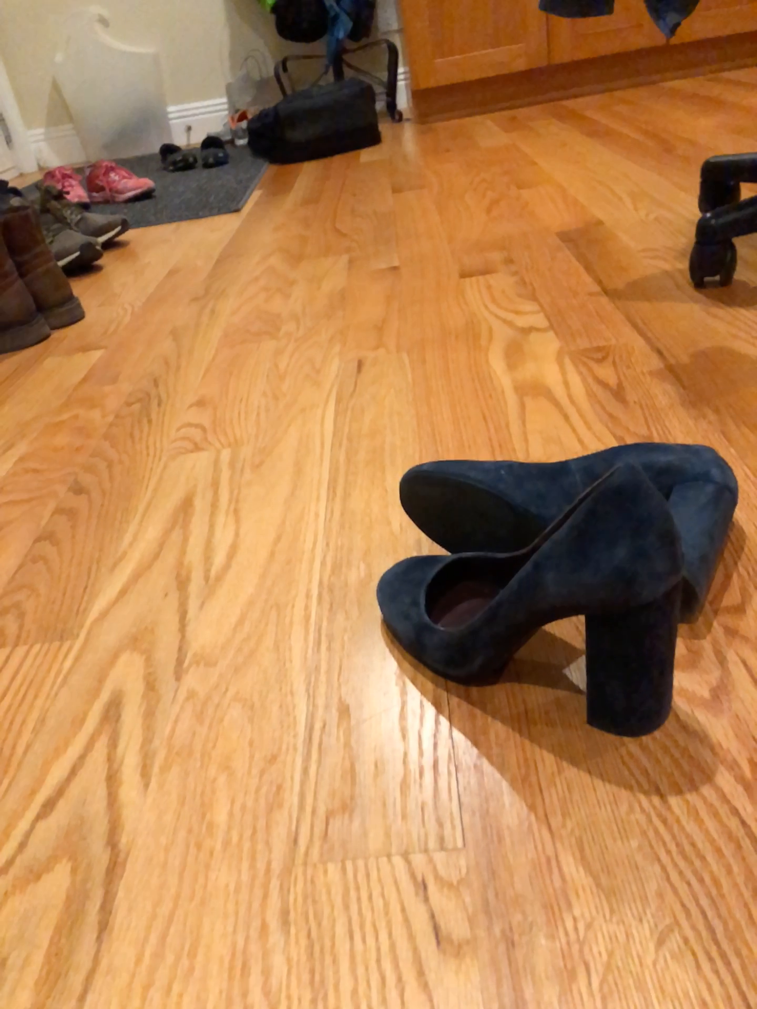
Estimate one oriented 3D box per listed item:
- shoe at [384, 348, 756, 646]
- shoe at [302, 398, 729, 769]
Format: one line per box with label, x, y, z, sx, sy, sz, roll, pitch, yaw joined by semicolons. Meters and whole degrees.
shoe;0.134;-0.018;0.537;0.205;0.089;0.140;14;45;35
shoe;0.072;0.031;0.454;0.195;0.128;0.090;14;38;35
